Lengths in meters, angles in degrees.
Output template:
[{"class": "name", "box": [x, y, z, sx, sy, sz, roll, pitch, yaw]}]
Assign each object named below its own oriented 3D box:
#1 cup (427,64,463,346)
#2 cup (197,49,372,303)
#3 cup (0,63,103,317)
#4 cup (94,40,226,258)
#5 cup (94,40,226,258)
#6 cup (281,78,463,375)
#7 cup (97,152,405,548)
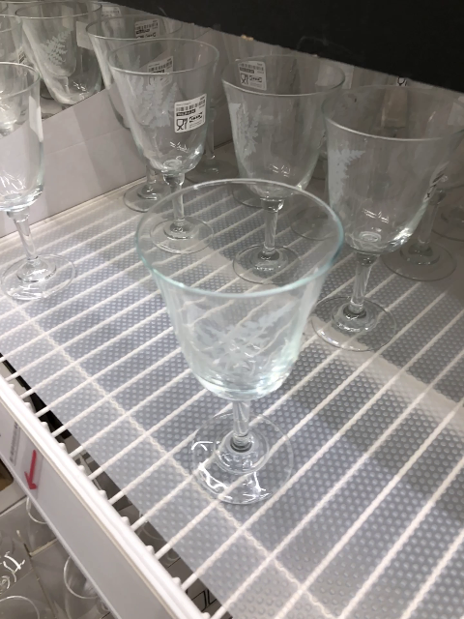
[{"class": "cup", "box": [0.207, -0.069, 0.333, 0.086, 0.136, 0.090, 0, 41, 0]}, {"class": "cup", "box": [0.036, -0.098, 0.380, 0.079, 0.146, 0.086, 0, 41, 0]}, {"class": "cup", "box": [-0.148, -0.082, 0.372, 0.069, 0.156, 0.067, 0, 41, 0]}, {"class": "cup", "box": [-0.050, -0.126, 0.414, 0.069, 0.146, 0.066, 0, 41, 0]}, {"class": "cup", "box": [-0.050, -0.126, 0.414, 0.069, 0.146, 0.066, 0, 41, 0]}, {"class": "cup", "box": [0.099, -0.055, 0.345, 0.089, 0.155, 0.087, 0, 41, 0]}, {"class": "cup", "box": [0.007, 0.022, 0.257, 0.086, 0.156, 0.090, 0, 41, 0]}]
